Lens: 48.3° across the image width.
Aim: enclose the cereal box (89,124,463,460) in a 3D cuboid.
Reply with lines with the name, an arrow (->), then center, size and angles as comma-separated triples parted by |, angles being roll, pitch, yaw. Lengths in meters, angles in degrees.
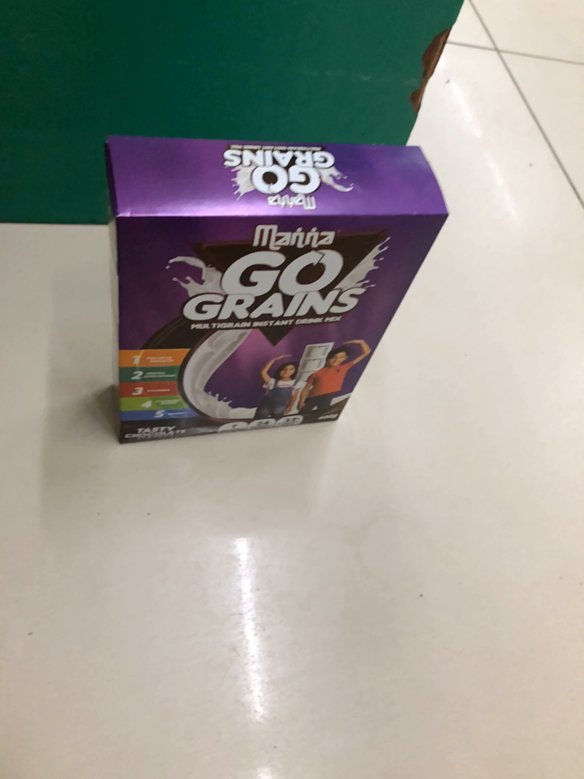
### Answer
cereal box -> -0.024, -0.039, 0.346 | 0.150, 0.189, 0.050 | -6, 58, -19
